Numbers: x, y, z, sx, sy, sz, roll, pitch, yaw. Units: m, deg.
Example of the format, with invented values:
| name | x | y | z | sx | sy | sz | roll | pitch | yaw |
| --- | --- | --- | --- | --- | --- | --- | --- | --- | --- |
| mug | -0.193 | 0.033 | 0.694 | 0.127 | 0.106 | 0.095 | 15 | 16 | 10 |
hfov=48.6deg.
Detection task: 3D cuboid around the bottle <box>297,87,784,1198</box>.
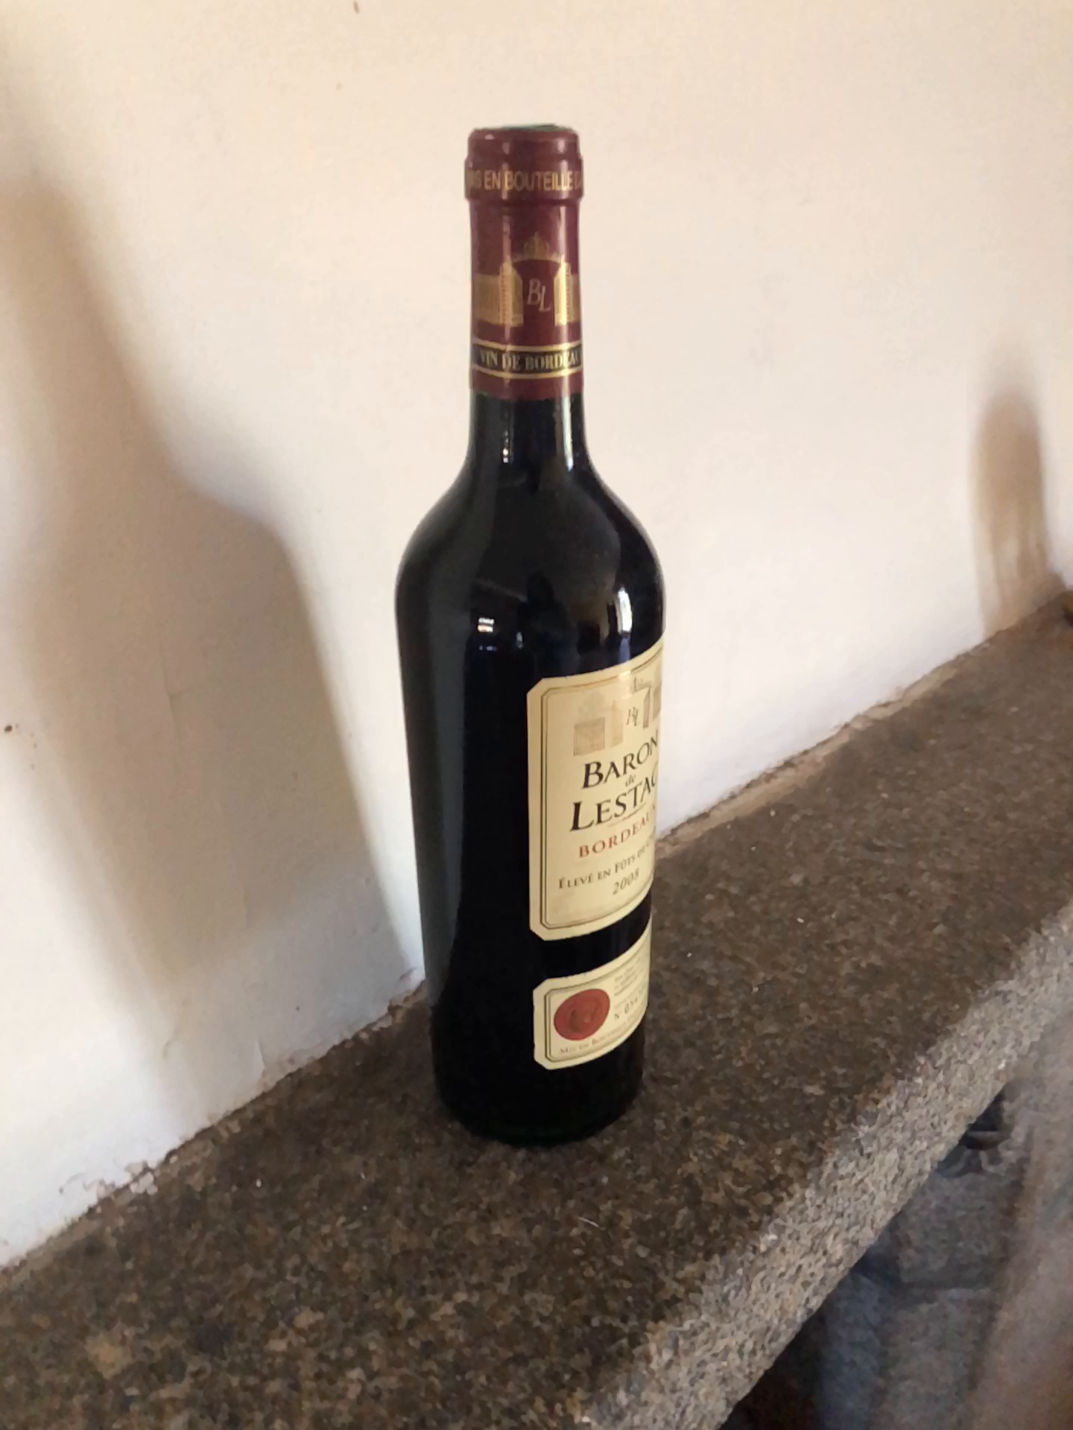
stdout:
| name | x | y | z | sx | sy | sz | roll | pitch | yaw |
| --- | --- | --- | --- | --- | --- | --- | --- | --- | --- |
| bottle | 0.006 | -0.011 | 0.322 | 0.080 | 0.278 | 0.070 | -25 | 35 | -37 |
